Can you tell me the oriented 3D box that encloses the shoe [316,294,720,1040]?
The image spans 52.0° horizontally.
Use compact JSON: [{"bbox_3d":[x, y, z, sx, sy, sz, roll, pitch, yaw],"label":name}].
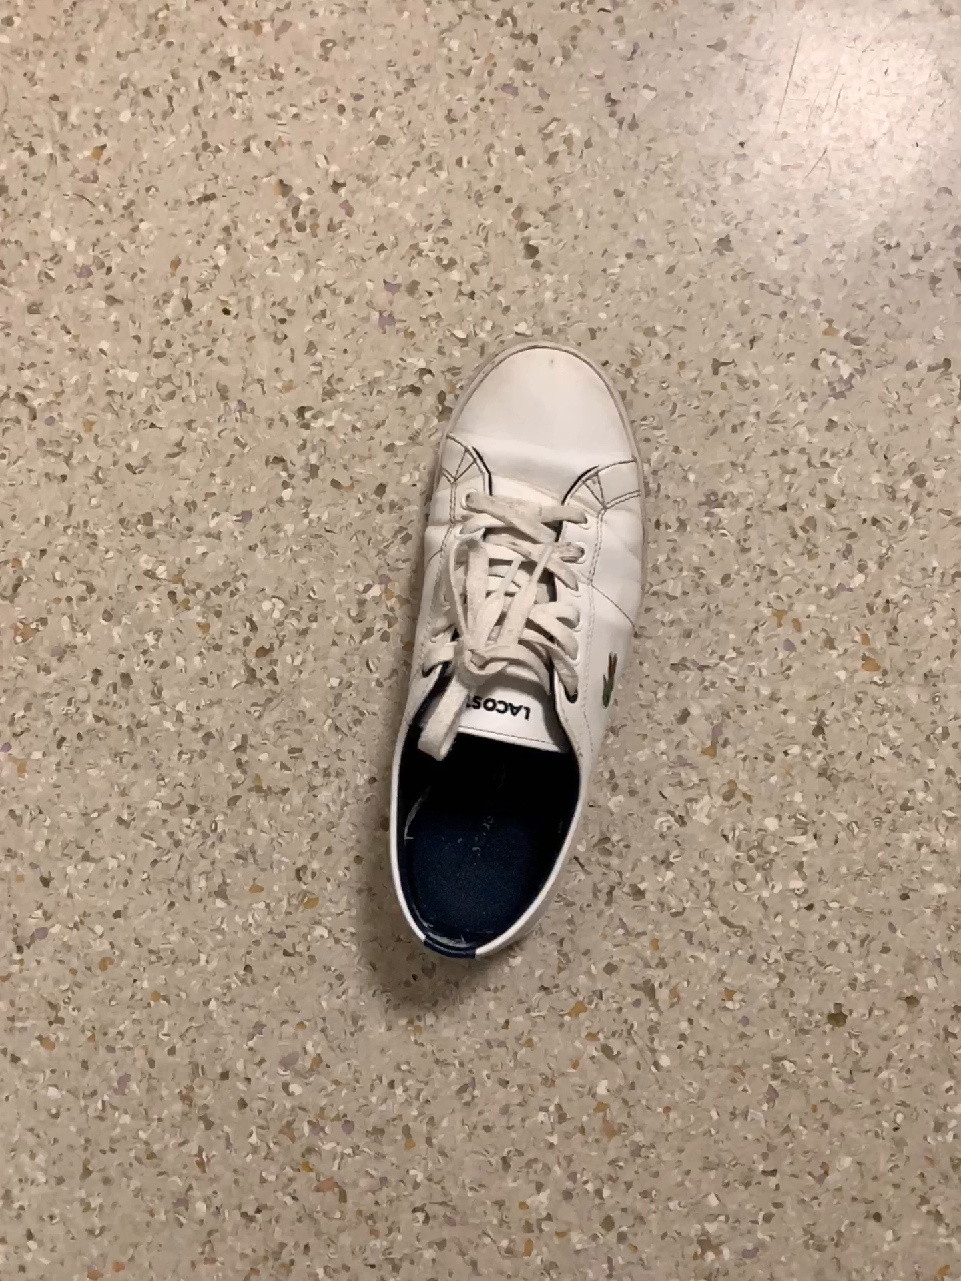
[{"bbox_3d":[0.016,0.008,0.393,0.100,0.090,0.250,10,90,5],"label":"shoe"}]
